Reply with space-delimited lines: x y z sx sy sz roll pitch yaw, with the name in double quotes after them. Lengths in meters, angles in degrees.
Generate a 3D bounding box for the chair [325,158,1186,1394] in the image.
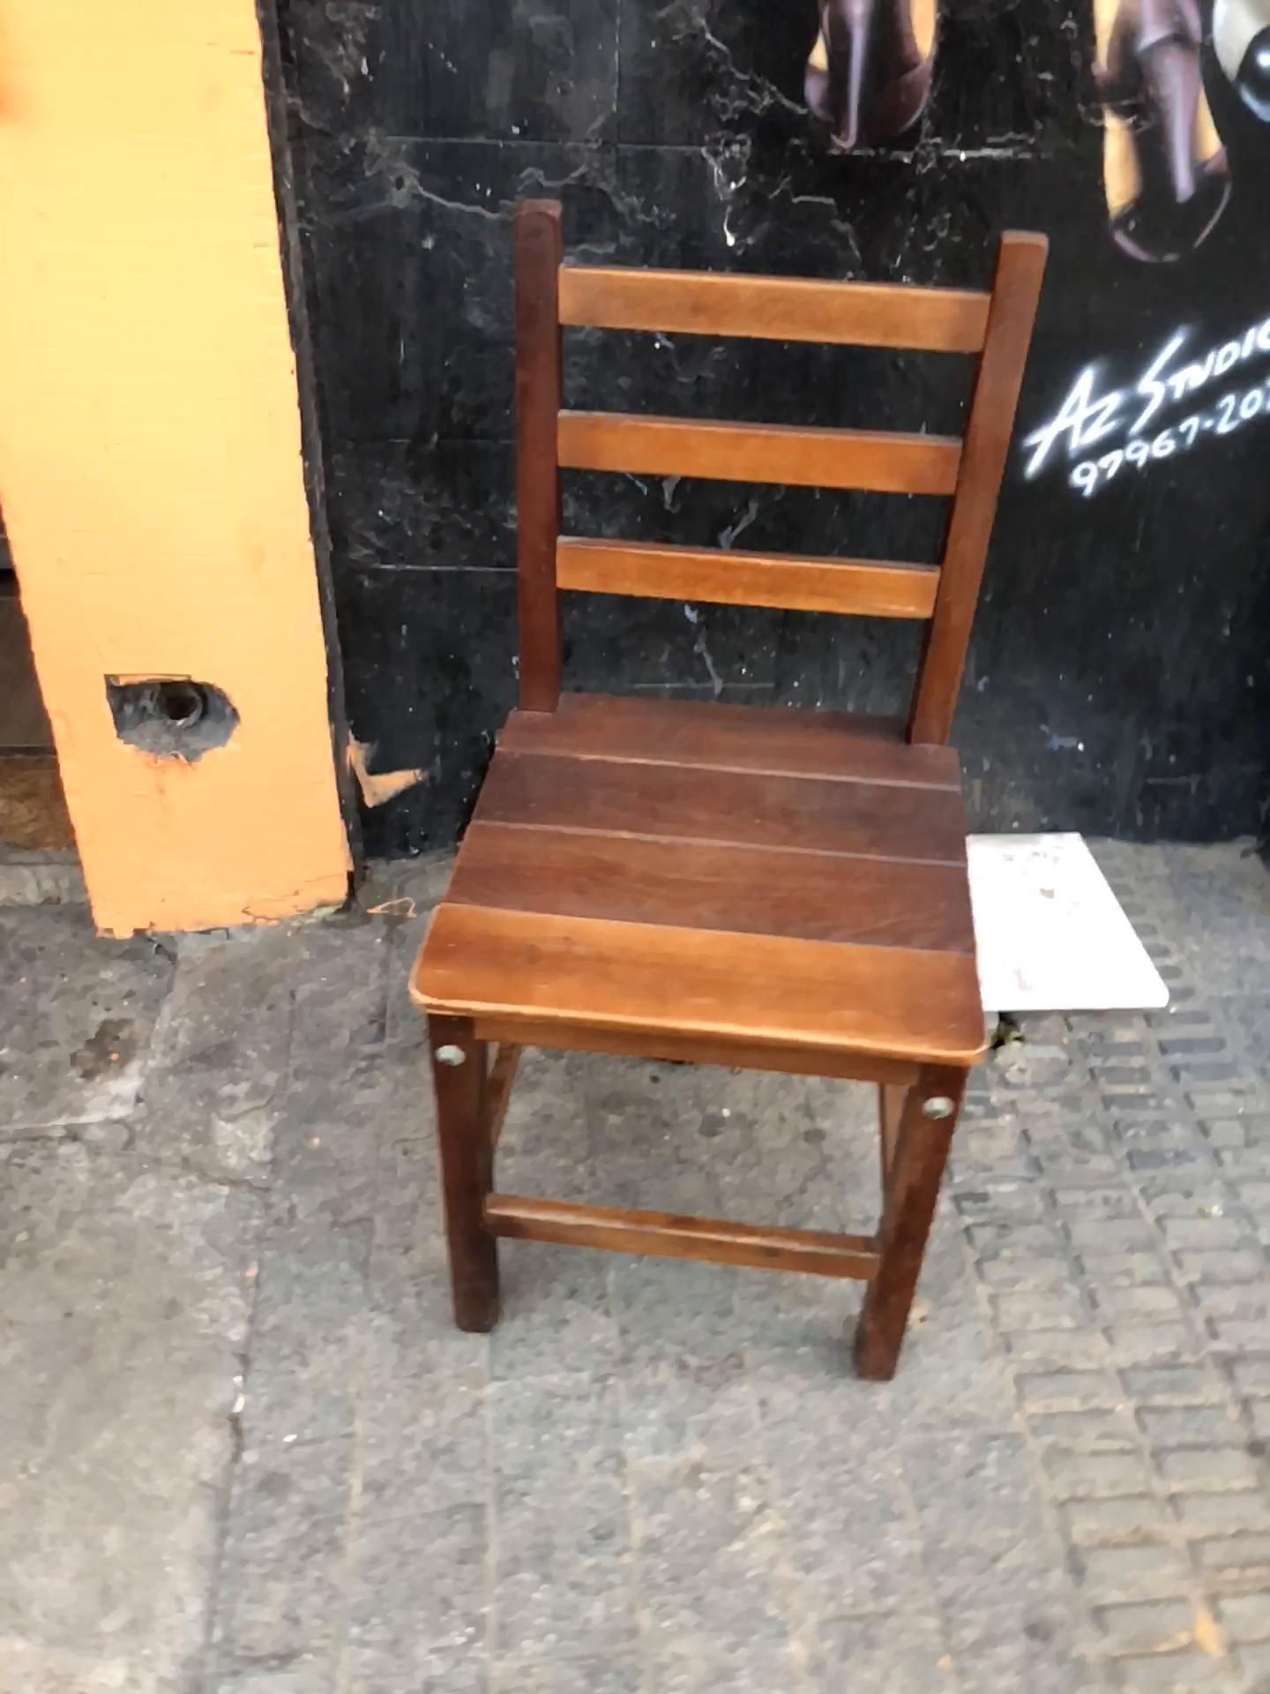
0.073 -0.048 1.203 0.460 0.893 0.504 6 35 4 "chair"
